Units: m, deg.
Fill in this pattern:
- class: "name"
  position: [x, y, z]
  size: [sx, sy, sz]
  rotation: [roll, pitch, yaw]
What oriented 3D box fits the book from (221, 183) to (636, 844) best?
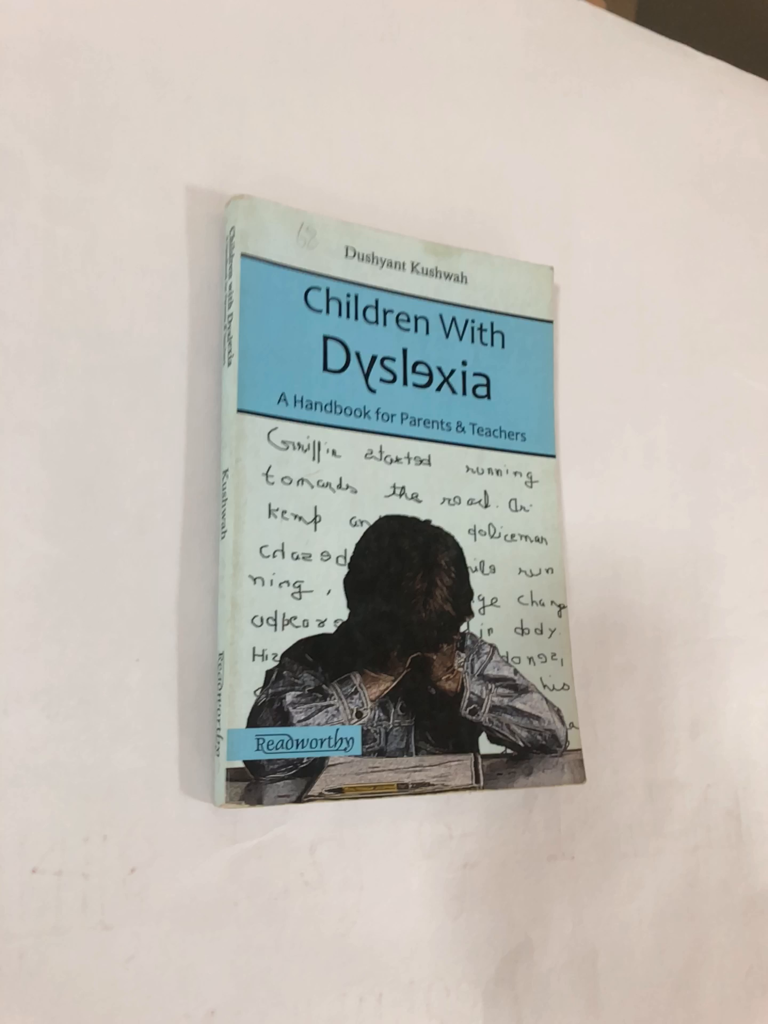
- class: "book"
  position: [0.018, 0.000, 0.324]
  size: [0.150, 0.030, 0.220]
  rotation: [5, 76, -26]
